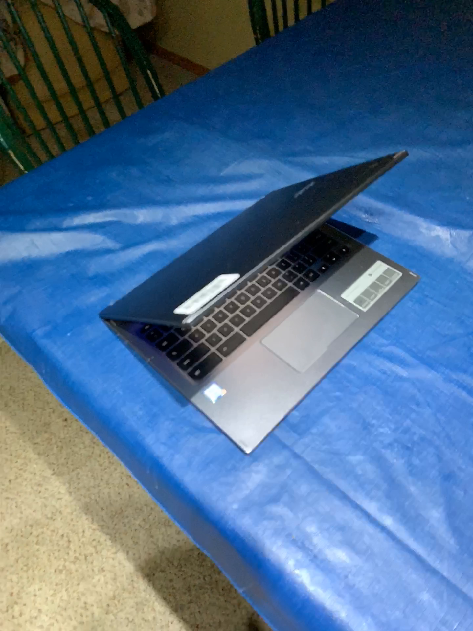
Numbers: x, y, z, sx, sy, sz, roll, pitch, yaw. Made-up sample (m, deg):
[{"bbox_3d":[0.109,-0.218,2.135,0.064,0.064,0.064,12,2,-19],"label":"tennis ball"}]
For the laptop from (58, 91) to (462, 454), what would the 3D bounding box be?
[{"bbox_3d":[0.028,-0.071,0.517,0.304,0.151,0.250,-39,59,-24],"label":"laptop"}]
